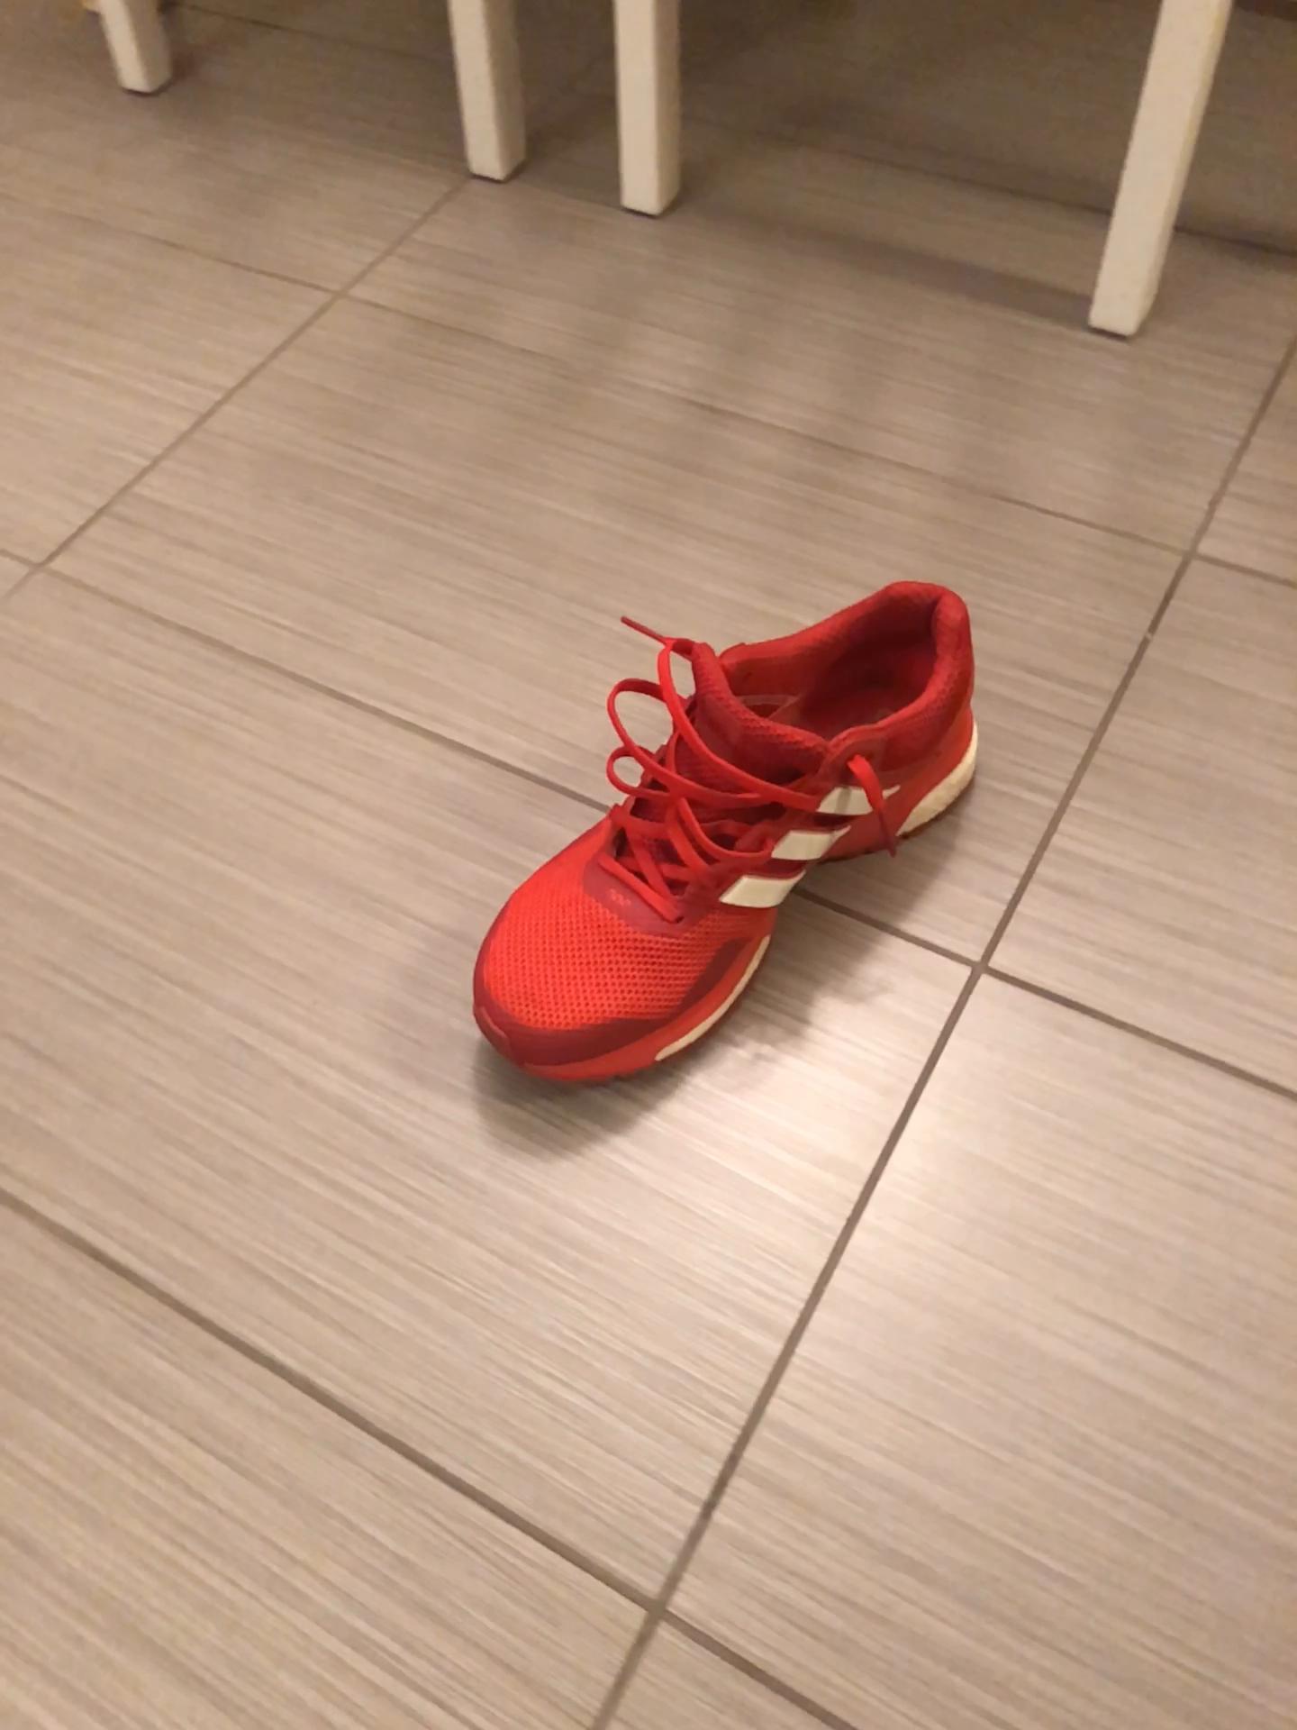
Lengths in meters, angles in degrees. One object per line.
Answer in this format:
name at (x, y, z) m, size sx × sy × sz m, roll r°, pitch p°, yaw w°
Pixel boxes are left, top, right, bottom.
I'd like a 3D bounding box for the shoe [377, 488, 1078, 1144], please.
shoe at (0.042, -0.031, 0.636) m, size 0.291 × 0.100 × 0.120 m, roll -38°, pitch 59°, yaw -20°
